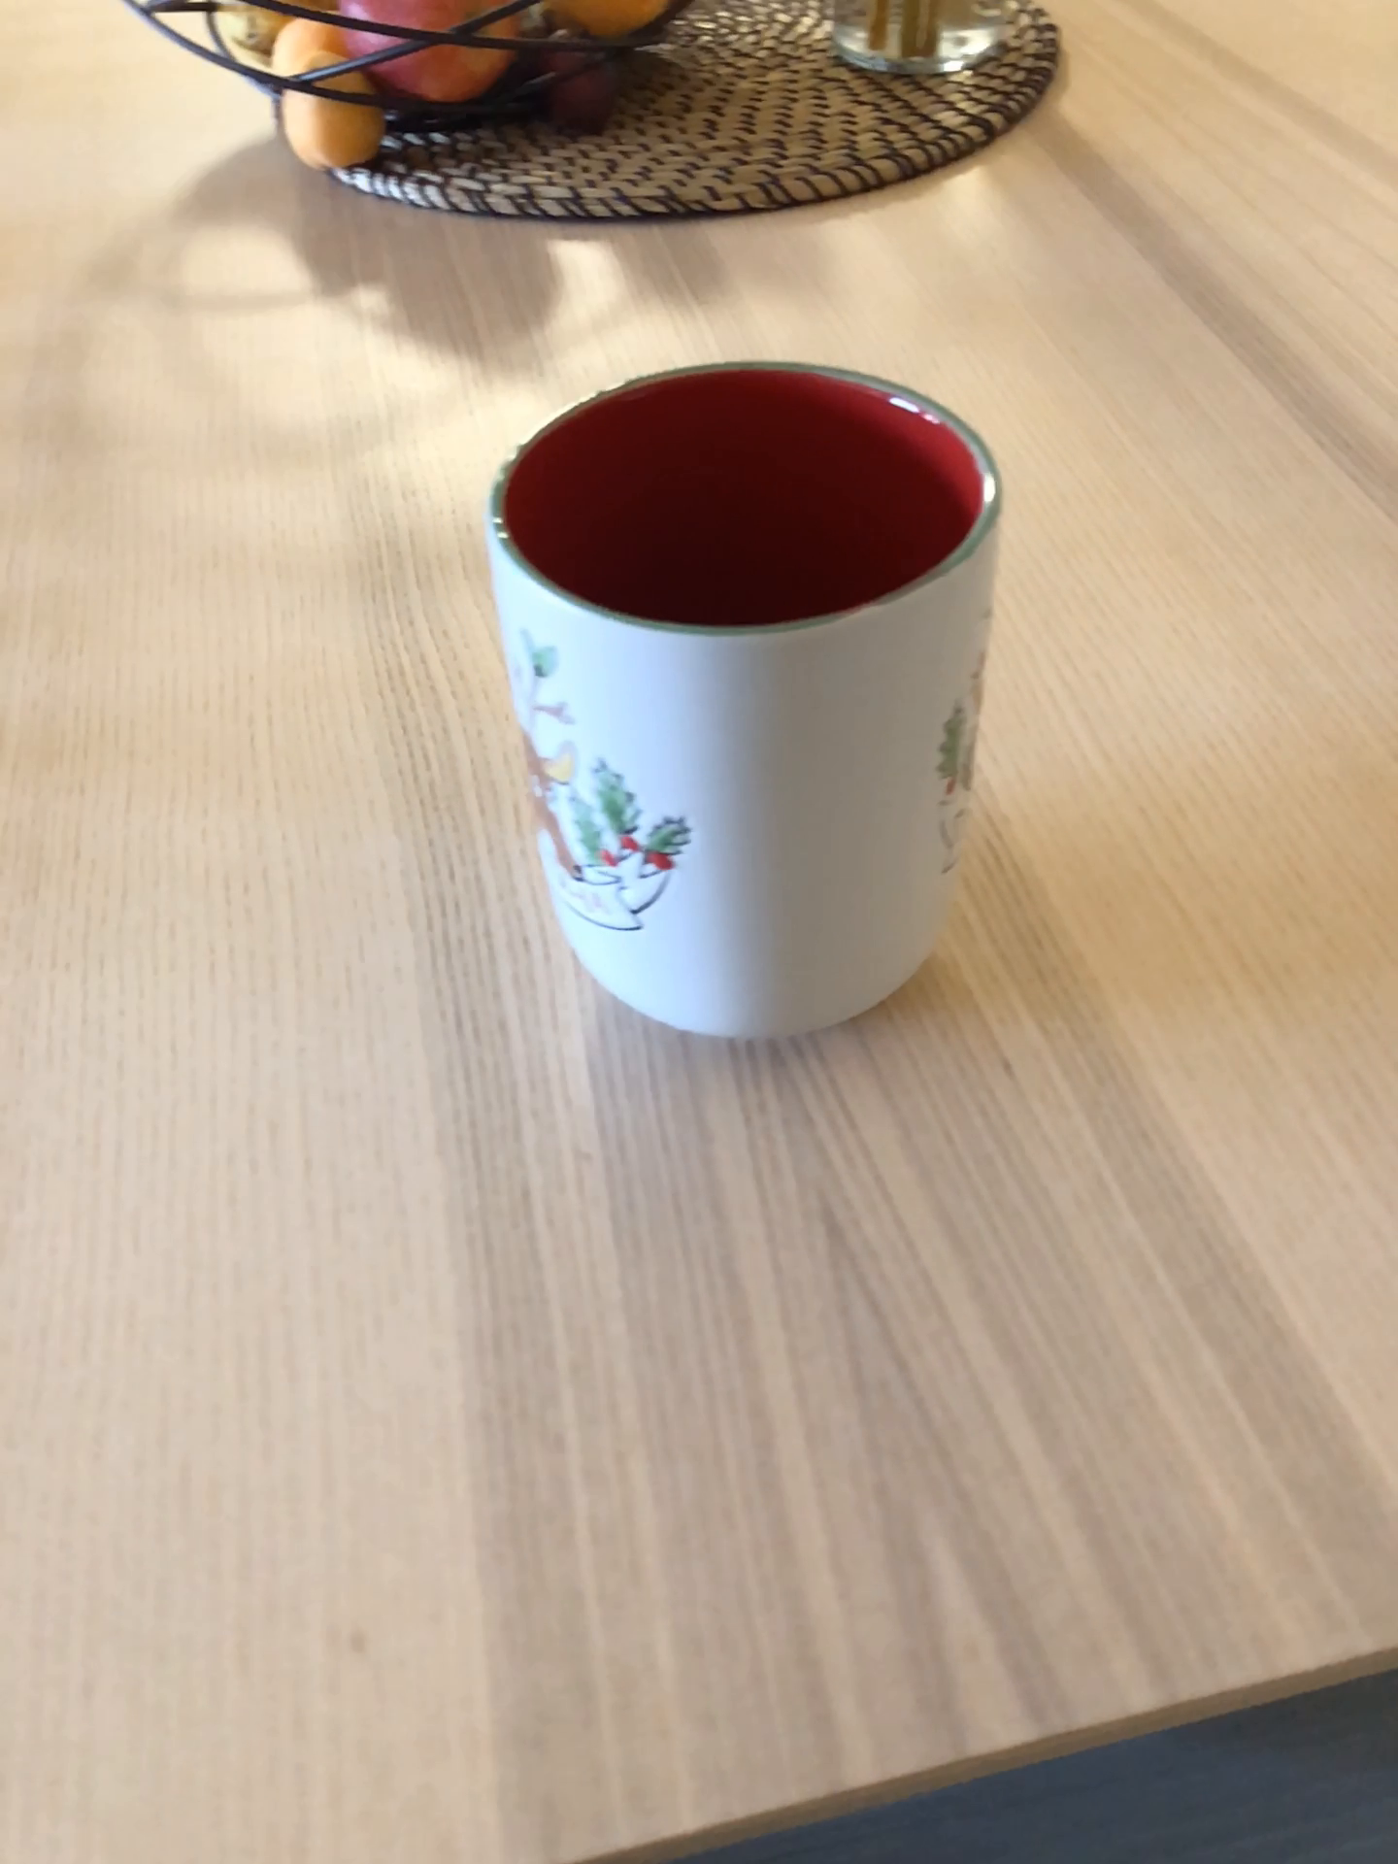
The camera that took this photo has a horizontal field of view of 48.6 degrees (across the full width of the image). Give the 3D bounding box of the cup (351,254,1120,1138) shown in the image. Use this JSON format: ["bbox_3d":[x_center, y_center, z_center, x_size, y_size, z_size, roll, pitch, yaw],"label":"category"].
[{"bbox_3d":[0.000,-0.055,0.321,0.100,0.100,0.141,-15,47,-11],"label":"cup"}]
